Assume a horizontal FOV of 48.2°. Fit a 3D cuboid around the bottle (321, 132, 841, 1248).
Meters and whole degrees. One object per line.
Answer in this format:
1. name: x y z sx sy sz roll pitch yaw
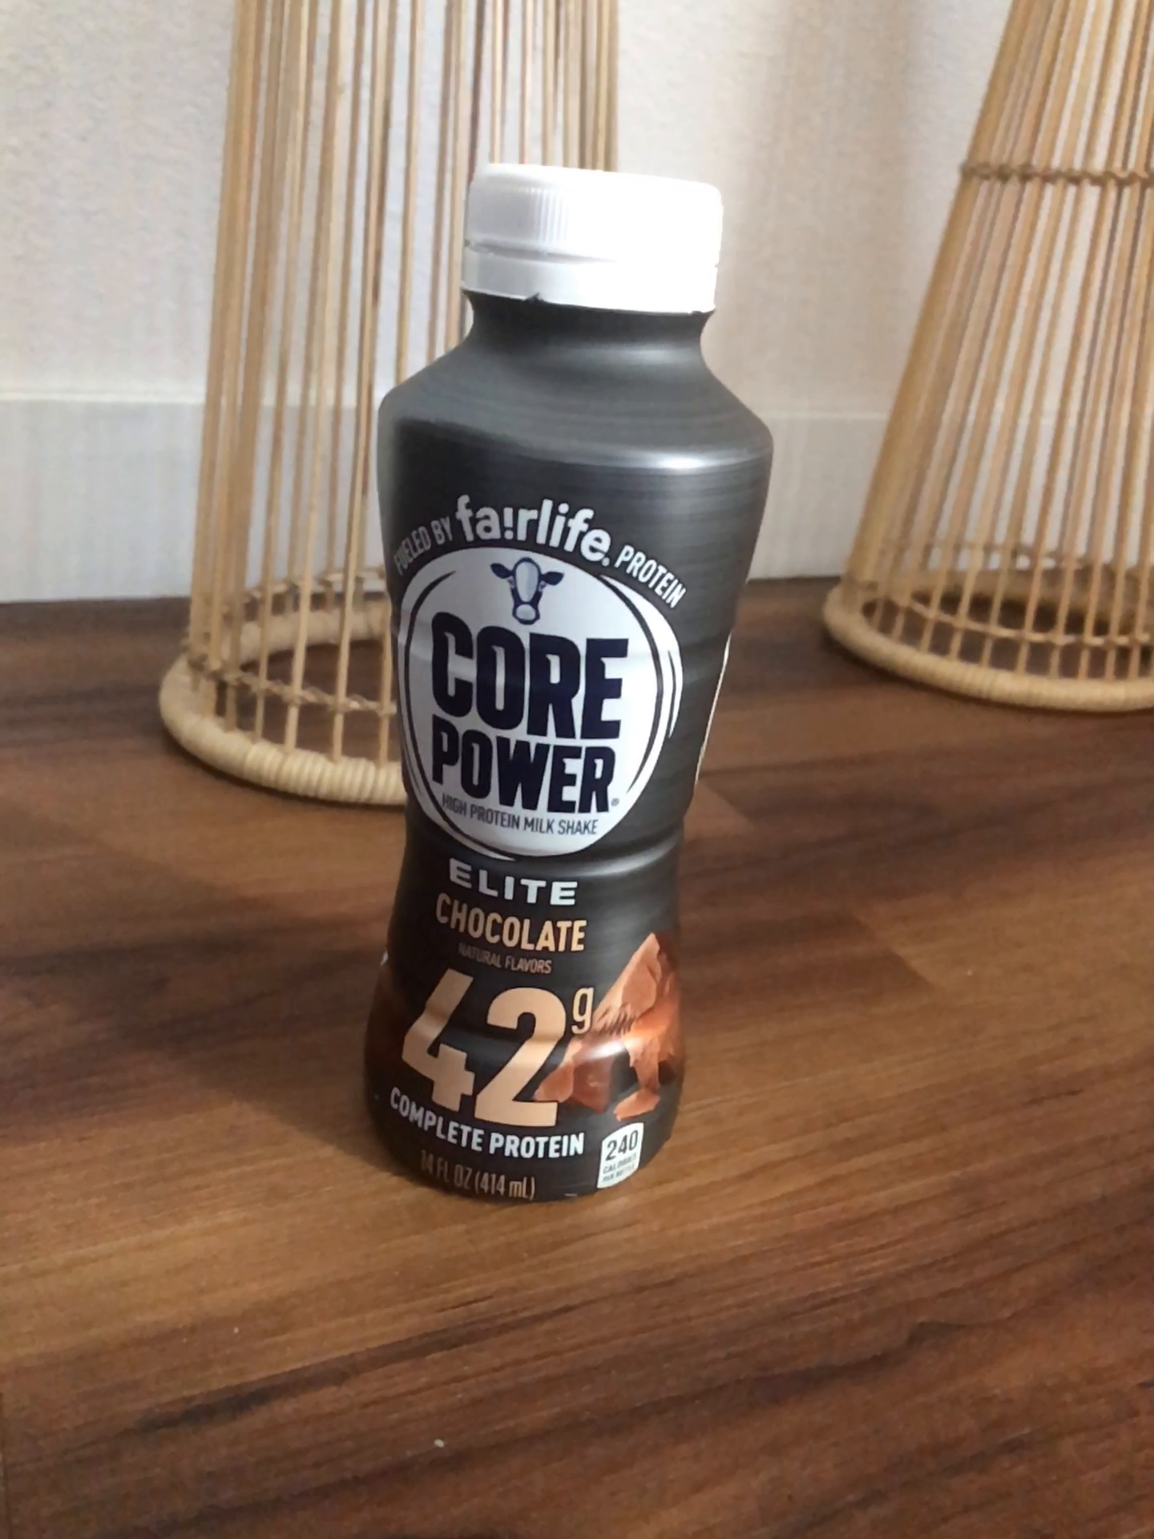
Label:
1. bottle: -0.001 -0.013 0.243 0.070 0.184 0.070 4 24 -2
